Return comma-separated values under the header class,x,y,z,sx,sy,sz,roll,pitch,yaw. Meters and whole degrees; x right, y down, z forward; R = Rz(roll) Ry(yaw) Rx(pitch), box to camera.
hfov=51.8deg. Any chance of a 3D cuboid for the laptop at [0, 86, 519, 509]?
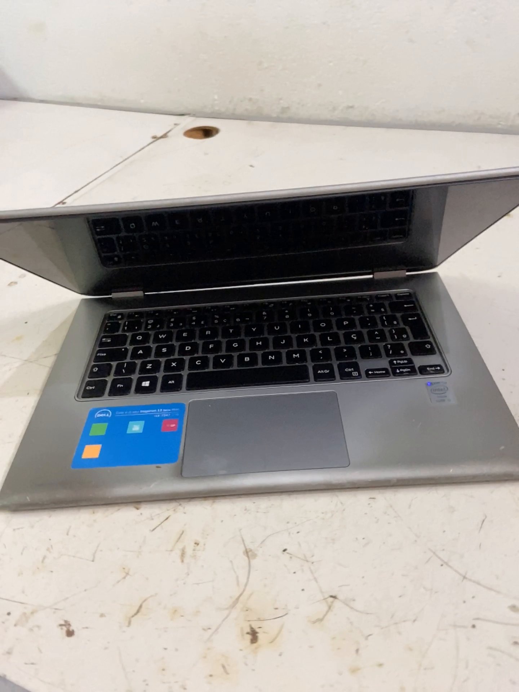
class,x,y,z,sx,sy,sz,roll,pitch,yaw
laptop,-0.005,-0.044,0.353,0.326,0.155,0.219,-4,40,2
